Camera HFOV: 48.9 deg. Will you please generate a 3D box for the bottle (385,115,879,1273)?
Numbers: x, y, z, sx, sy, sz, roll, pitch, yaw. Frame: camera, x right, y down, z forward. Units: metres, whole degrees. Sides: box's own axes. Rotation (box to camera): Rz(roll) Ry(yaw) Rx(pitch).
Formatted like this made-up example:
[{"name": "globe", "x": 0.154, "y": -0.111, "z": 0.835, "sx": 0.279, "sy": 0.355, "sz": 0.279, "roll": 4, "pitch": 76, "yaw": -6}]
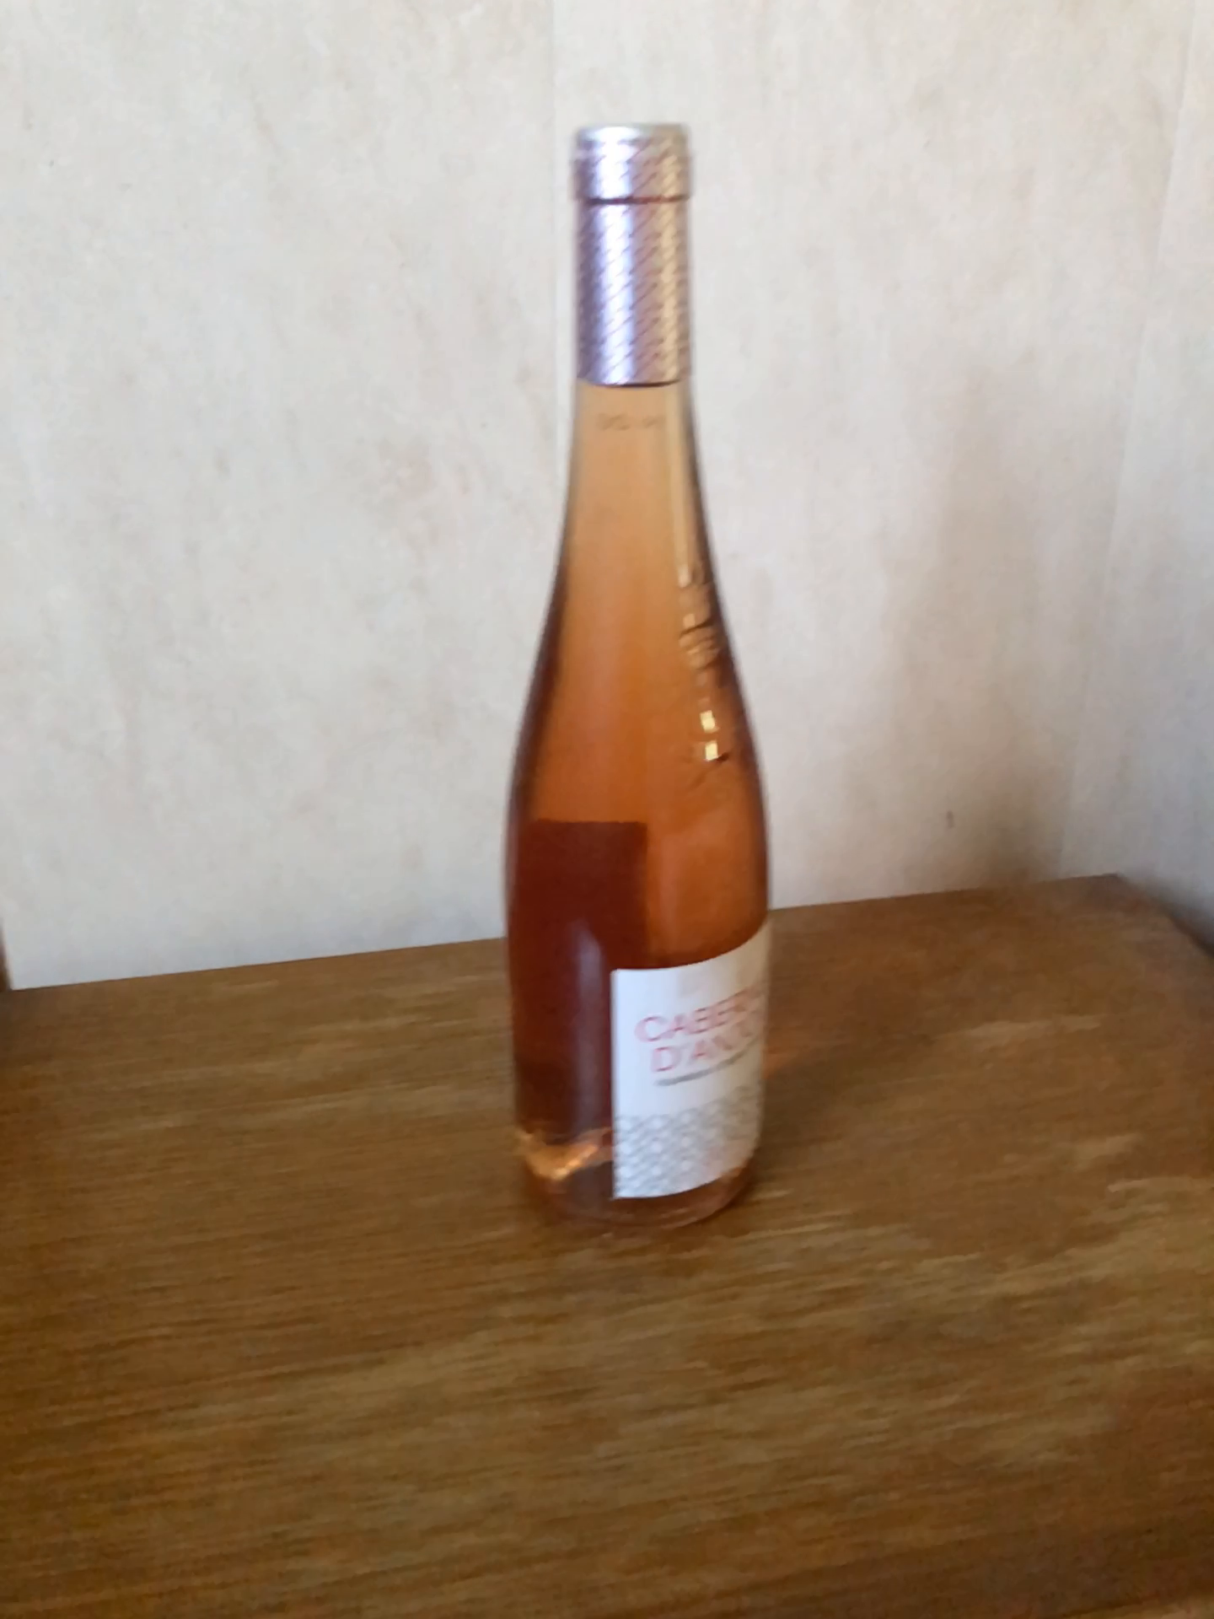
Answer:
[{"name": "bottle", "x": 0.003, "y": -0.027, "z": 0.380, "sx": 0.080, "sy": 0.298, "sz": 0.090, "roll": -16, "pitch": 29, "yaw": -32}]
